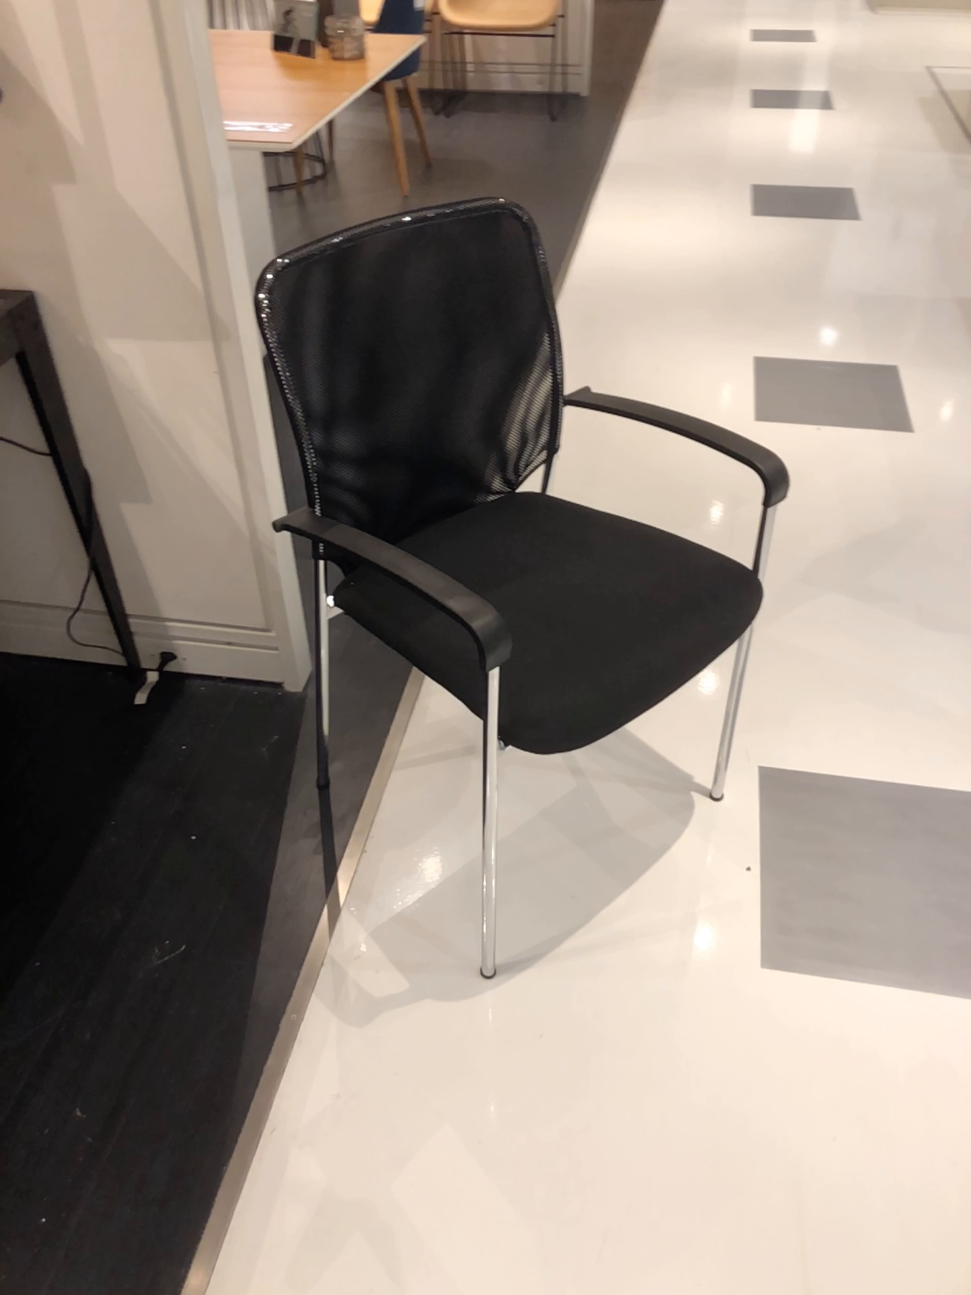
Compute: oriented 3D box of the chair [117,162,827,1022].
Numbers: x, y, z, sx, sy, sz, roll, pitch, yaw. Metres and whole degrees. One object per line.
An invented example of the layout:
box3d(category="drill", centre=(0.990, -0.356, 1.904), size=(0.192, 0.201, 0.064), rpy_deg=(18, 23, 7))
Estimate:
box3d(category="chair", centre=(-0.006, -0.088, 1.440), size=(0.592, 0.863, 0.512), rpy_deg=(-30, 47, -31))
